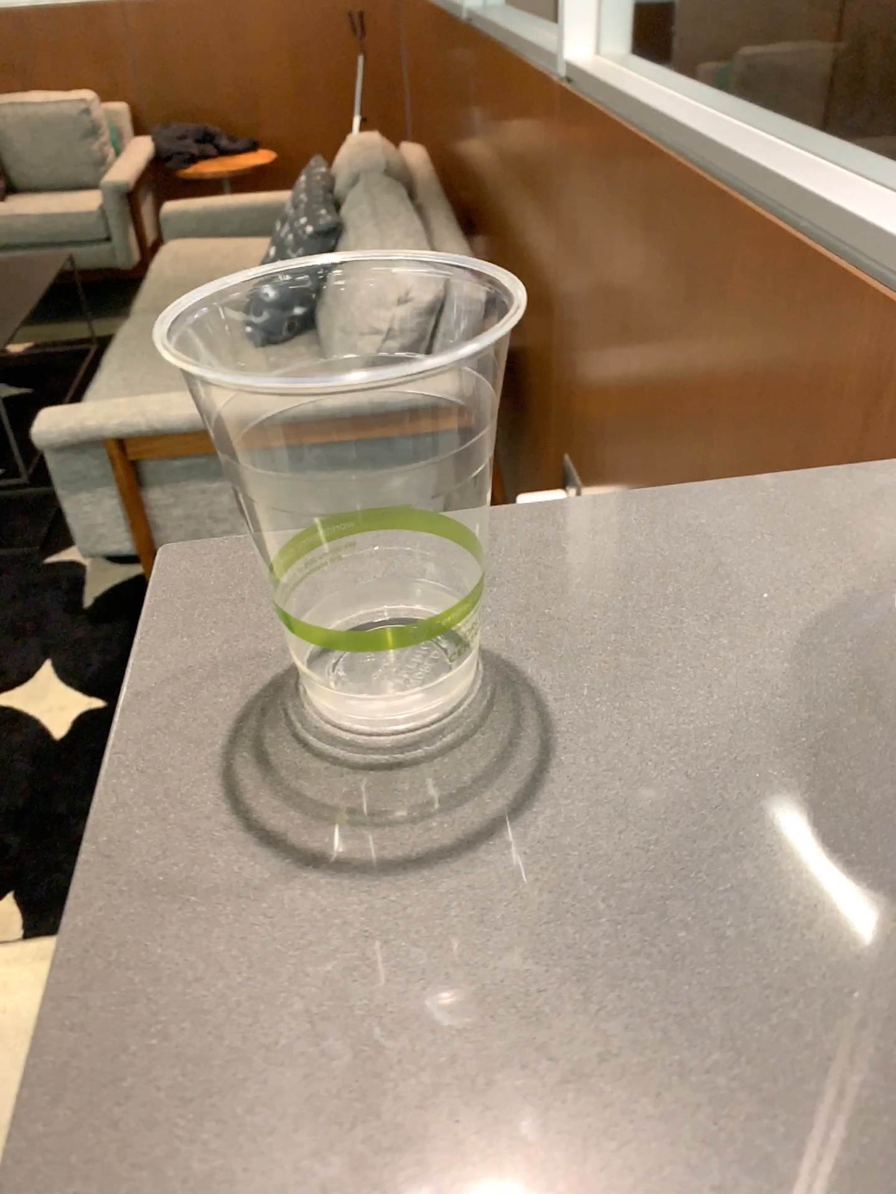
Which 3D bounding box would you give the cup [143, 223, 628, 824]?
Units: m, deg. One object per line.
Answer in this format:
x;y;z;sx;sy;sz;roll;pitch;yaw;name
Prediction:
-0.020;-0.025;0.261;0.100;0.119;0.101;-2;36;2;cup
